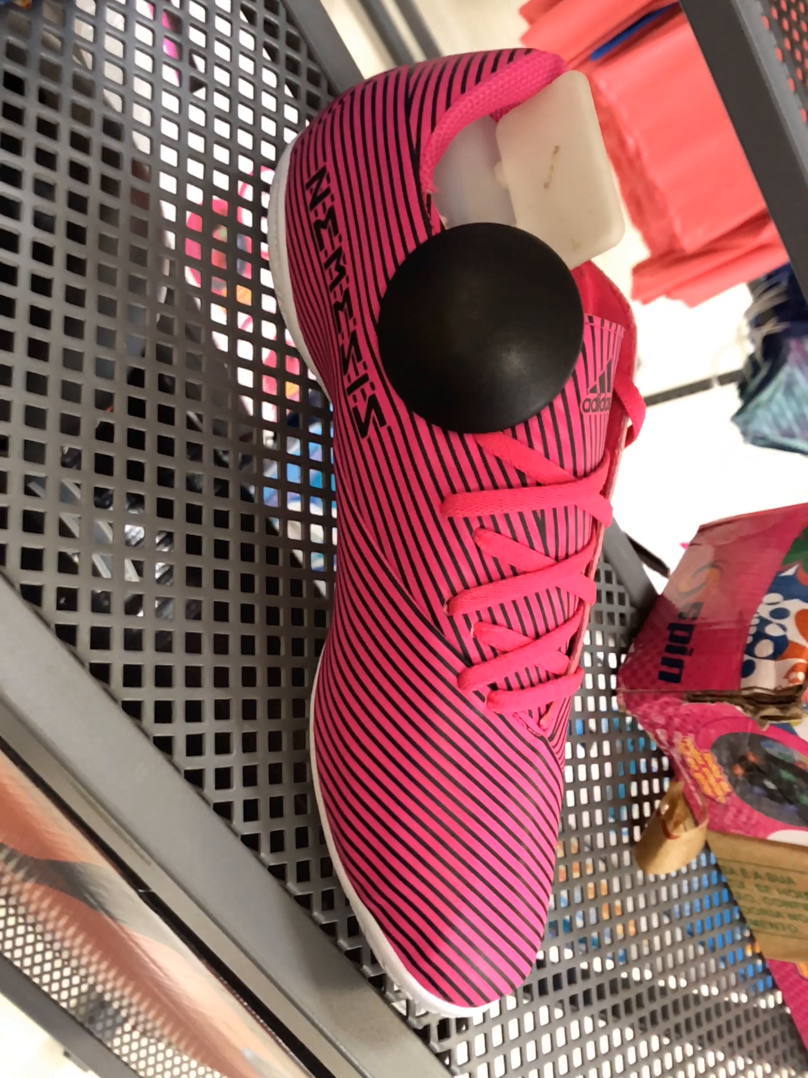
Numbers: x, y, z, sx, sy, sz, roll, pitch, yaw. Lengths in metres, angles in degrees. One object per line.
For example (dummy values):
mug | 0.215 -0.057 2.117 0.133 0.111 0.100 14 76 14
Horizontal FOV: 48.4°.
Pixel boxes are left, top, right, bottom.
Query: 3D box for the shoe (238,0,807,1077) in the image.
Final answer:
shoe | 0.028 0.003 0.253 0.096 0.099 0.260 3 79 -43
